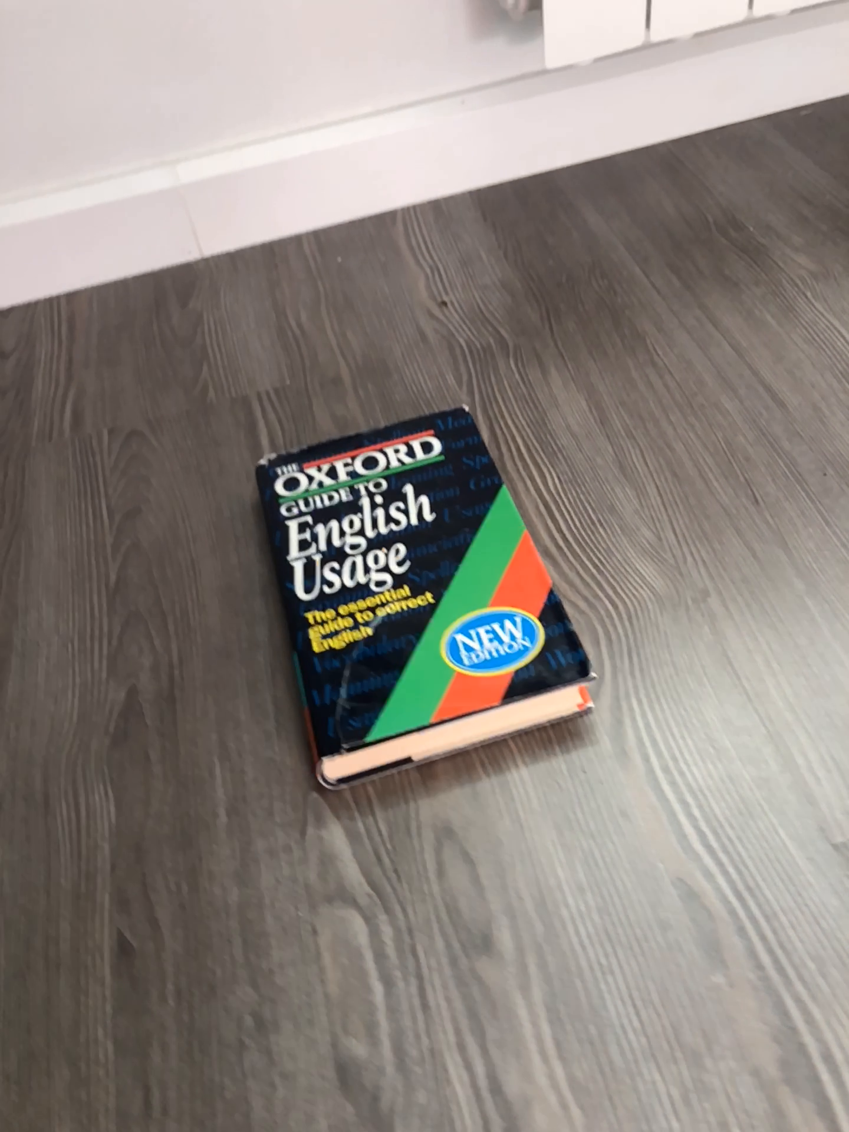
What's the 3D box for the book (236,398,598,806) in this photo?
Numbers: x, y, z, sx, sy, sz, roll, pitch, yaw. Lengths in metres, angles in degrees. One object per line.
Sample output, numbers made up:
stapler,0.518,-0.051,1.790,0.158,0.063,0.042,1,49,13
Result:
book,-0.015,0.005,0.534,0.150,0.035,0.230,-16,49,-5
